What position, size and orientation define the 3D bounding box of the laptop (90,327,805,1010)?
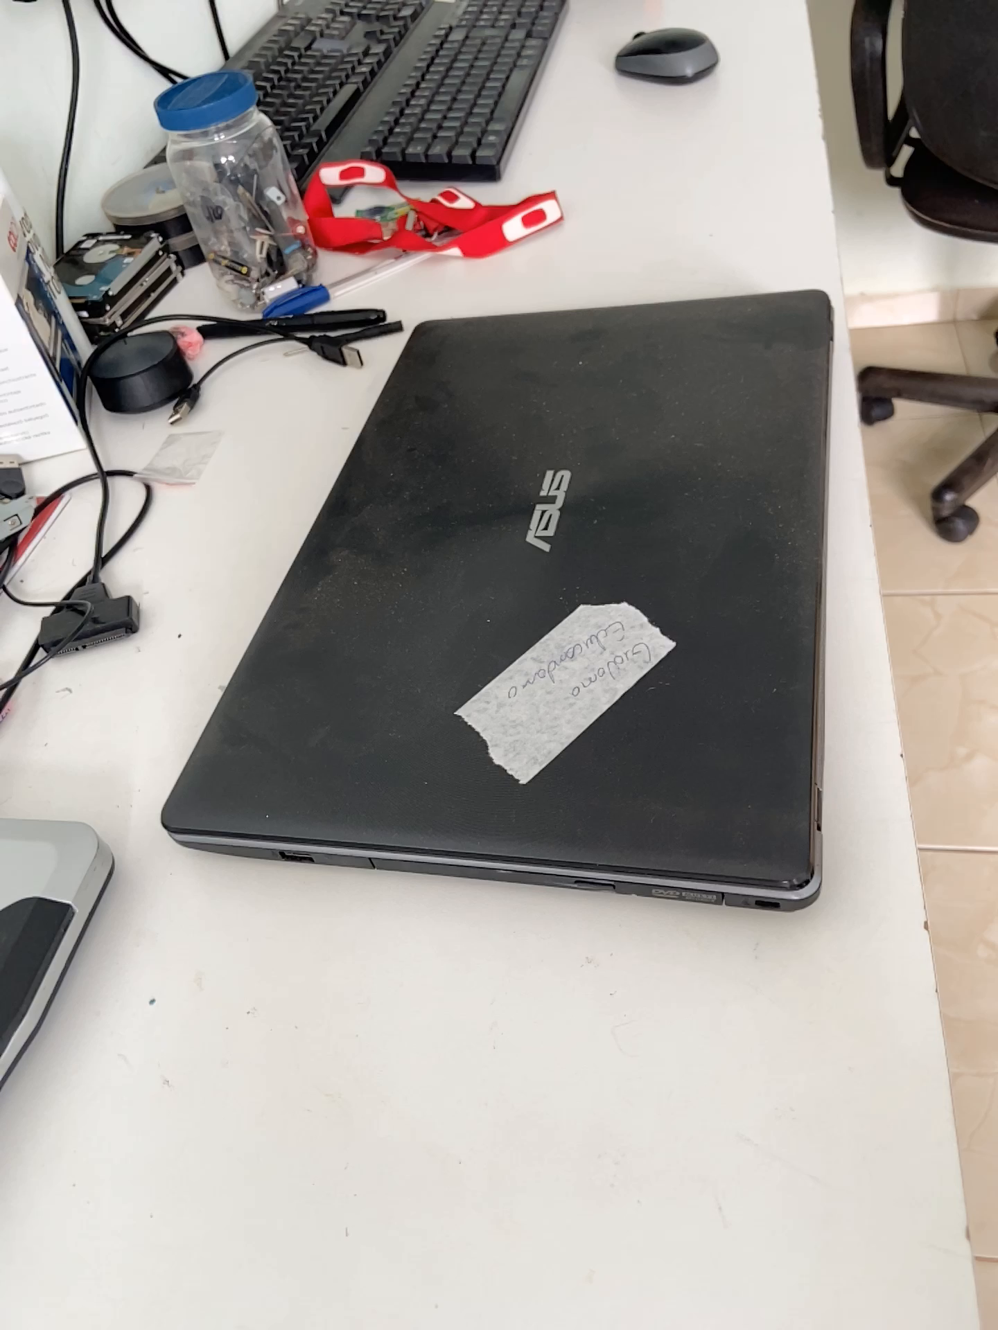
[{"bbox_3d":[0.006,-0.046,0.476,0.250,0.007,0.387,2,48,17],"label":"laptop"}]
